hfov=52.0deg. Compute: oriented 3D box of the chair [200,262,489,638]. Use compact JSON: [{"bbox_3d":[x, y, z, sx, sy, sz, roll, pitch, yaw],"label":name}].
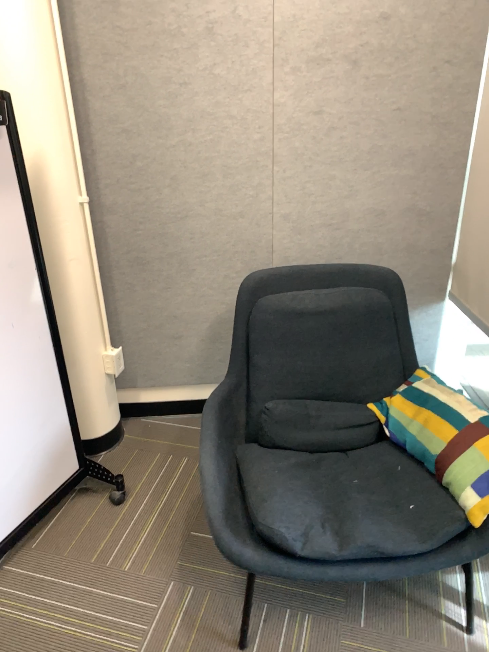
[{"bbox_3d":[0.326,0.328,1.771,0.790,0.816,1.005,0,26,3],"label":"chair"}]
